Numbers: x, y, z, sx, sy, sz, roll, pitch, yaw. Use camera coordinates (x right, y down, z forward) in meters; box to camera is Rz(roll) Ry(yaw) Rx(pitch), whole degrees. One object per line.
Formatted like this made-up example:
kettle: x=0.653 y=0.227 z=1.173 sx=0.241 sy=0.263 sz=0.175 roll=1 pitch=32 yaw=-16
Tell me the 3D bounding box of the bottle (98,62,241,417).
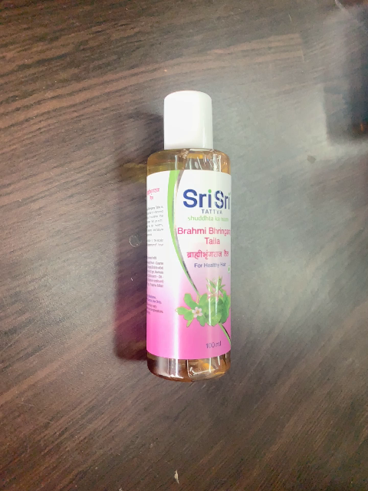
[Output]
bottle: x=-0.007 y=-0.002 z=0.171 sx=0.050 sy=0.040 sz=0.130 roll=1 pitch=89 yaw=-34
